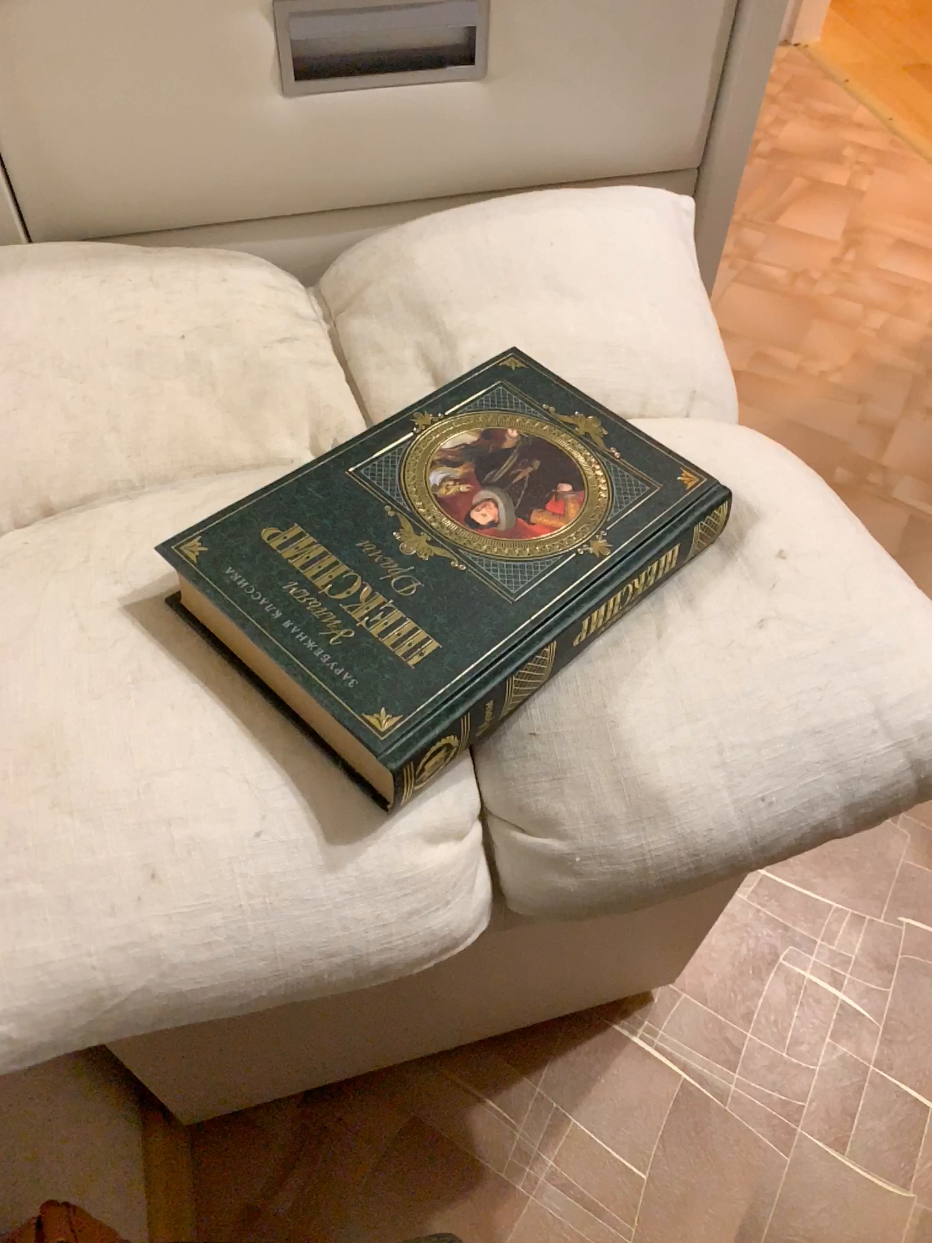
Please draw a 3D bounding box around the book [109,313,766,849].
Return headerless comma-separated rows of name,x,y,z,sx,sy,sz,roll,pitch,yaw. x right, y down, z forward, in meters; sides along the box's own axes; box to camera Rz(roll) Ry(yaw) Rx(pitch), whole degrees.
book,-0.003,-0.036,0.394,0.150,0.040,0.221,38,56,22
